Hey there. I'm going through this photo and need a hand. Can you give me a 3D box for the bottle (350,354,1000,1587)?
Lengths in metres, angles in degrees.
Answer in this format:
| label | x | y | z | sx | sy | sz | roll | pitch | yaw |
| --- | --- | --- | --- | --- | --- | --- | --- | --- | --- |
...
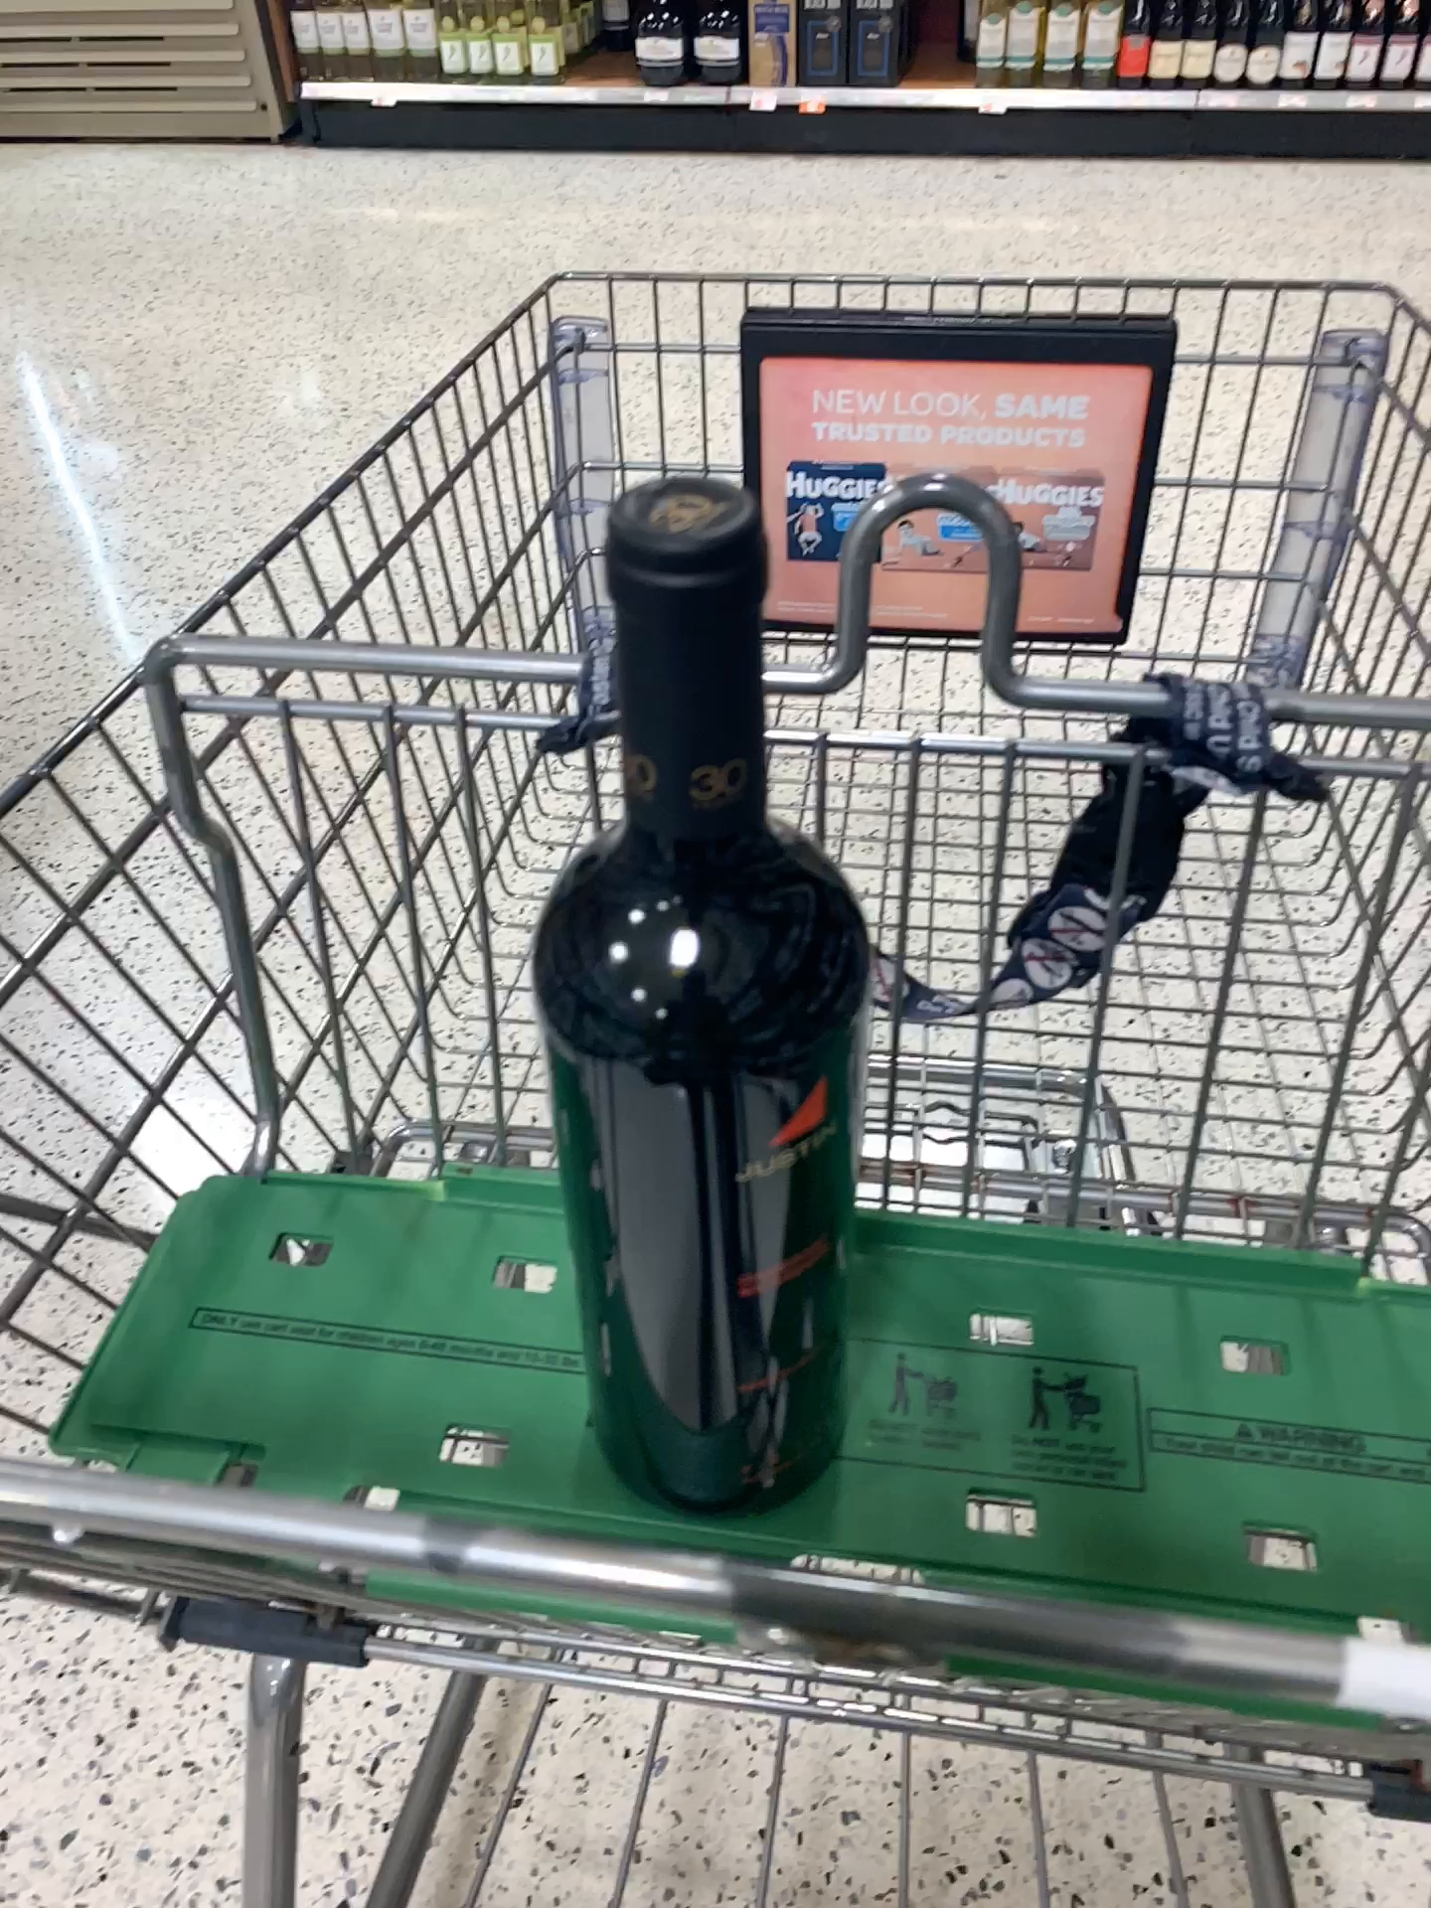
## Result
| label | x | y | z | sx | sy | sz | roll | pitch | yaw |
| --- | --- | --- | --- | --- | --- | --- | --- | --- | --- |
| bottle | -0.003 | 0.030 | 0.346 | 0.080 | 0.297 | 0.081 | -2 | 43 | 2 |
